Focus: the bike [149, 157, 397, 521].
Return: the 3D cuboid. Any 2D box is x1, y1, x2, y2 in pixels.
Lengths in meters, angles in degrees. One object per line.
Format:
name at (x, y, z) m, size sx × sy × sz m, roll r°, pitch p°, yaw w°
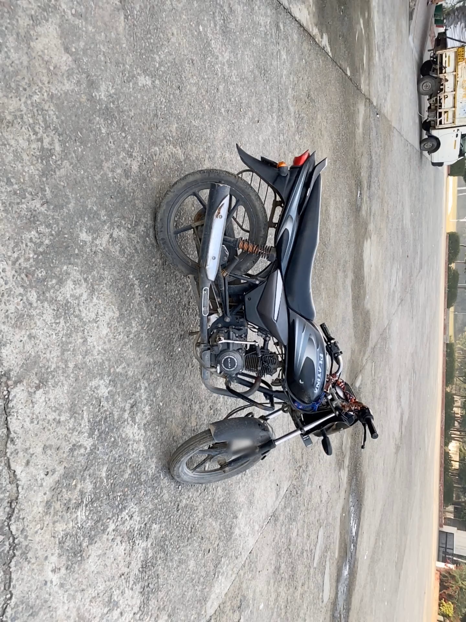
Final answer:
bike at (0.298, 0.125, 2.699) m, size 0.775 × 1.078 × 1.739 m, roll -32°, pitch 121°, yaw -60°
